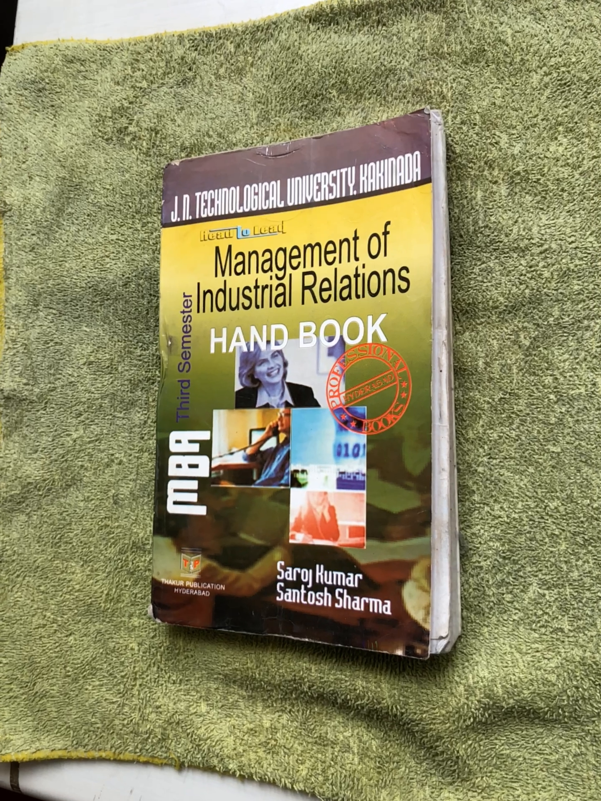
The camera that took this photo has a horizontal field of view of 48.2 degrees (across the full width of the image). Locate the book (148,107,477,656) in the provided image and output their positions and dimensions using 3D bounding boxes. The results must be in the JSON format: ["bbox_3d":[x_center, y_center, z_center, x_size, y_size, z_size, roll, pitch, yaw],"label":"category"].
[{"bbox_3d":[0.007,-0.008,0.314,0.140,0.050,0.220,-1,84,20],"label":"book"}]
